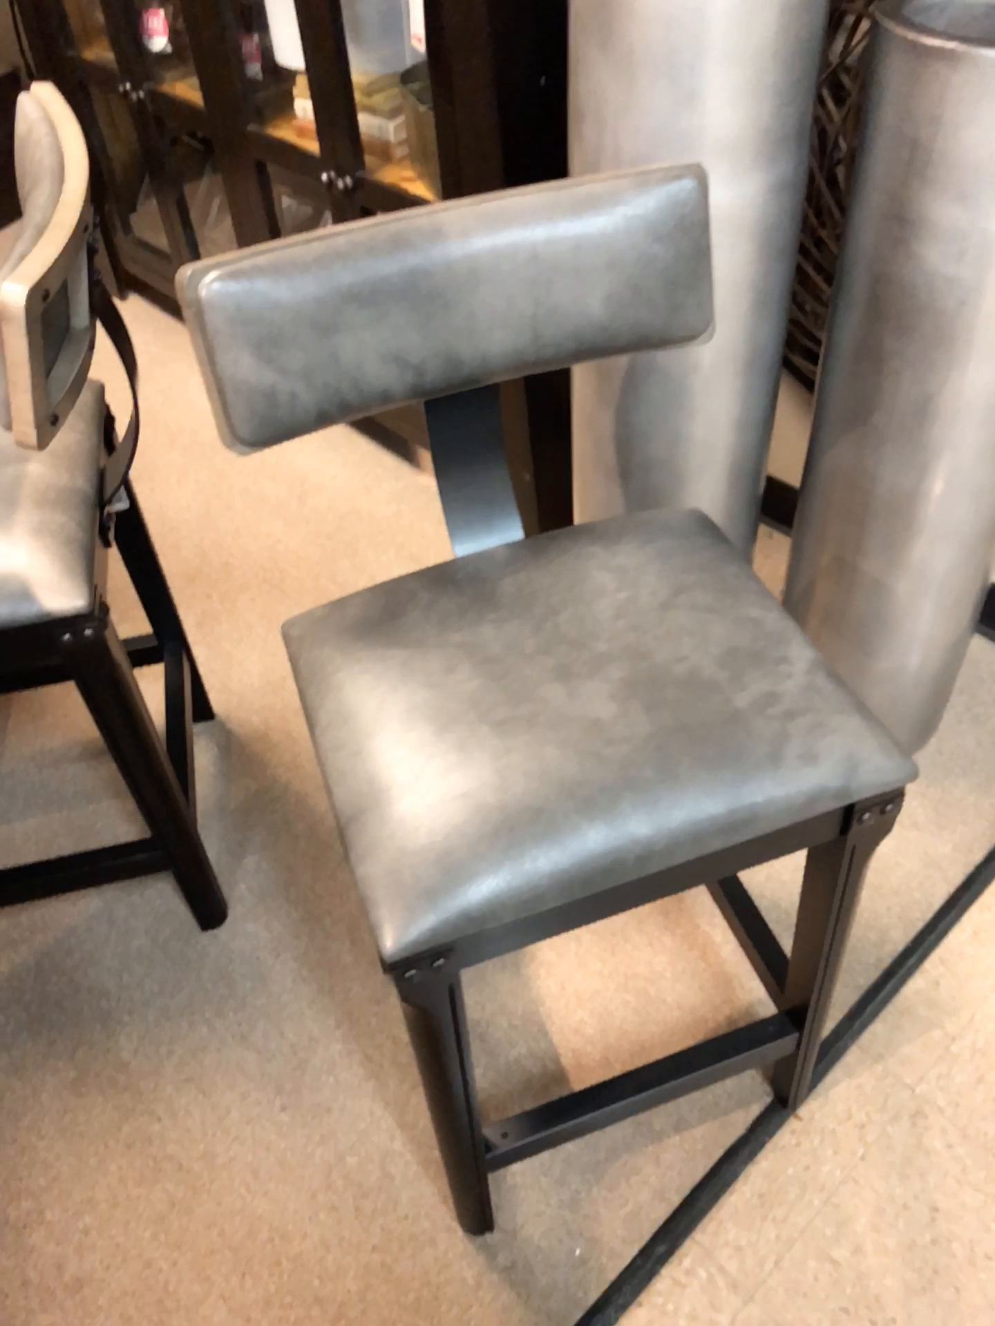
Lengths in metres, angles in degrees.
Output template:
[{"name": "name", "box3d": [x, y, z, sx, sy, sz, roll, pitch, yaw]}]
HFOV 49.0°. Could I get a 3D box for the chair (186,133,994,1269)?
[{"name": "chair", "box3d": [0.082, 0.087, 0.989, 0.440, 0.864, 0.463, -17, 46, -13]}]
